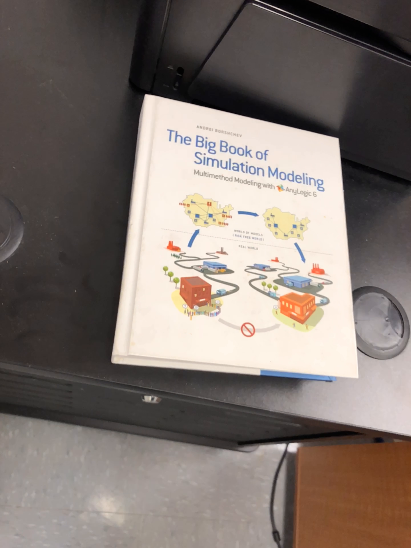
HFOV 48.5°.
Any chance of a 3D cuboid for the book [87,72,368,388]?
[{"bbox_3d":[0.022,-0.040,0.398,0.210,0.050,0.251,8,66,-13],"label":"book"}]
